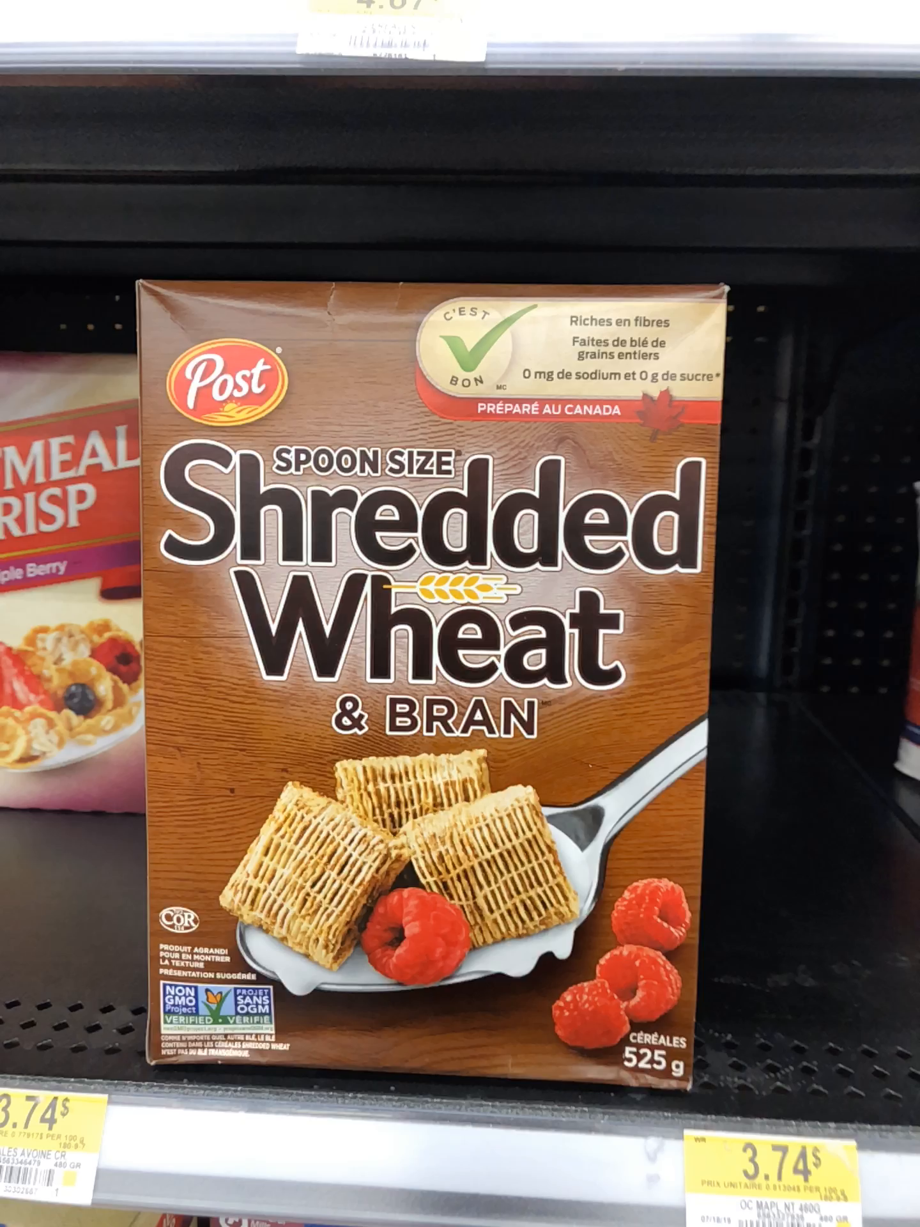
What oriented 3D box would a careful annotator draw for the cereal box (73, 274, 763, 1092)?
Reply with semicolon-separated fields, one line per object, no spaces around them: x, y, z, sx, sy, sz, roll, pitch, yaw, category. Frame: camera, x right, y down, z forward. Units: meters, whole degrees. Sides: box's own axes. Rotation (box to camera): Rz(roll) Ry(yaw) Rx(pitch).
-0.016;0.023;0.356;0.210;0.259;0.060;1;7;2;cereal box
